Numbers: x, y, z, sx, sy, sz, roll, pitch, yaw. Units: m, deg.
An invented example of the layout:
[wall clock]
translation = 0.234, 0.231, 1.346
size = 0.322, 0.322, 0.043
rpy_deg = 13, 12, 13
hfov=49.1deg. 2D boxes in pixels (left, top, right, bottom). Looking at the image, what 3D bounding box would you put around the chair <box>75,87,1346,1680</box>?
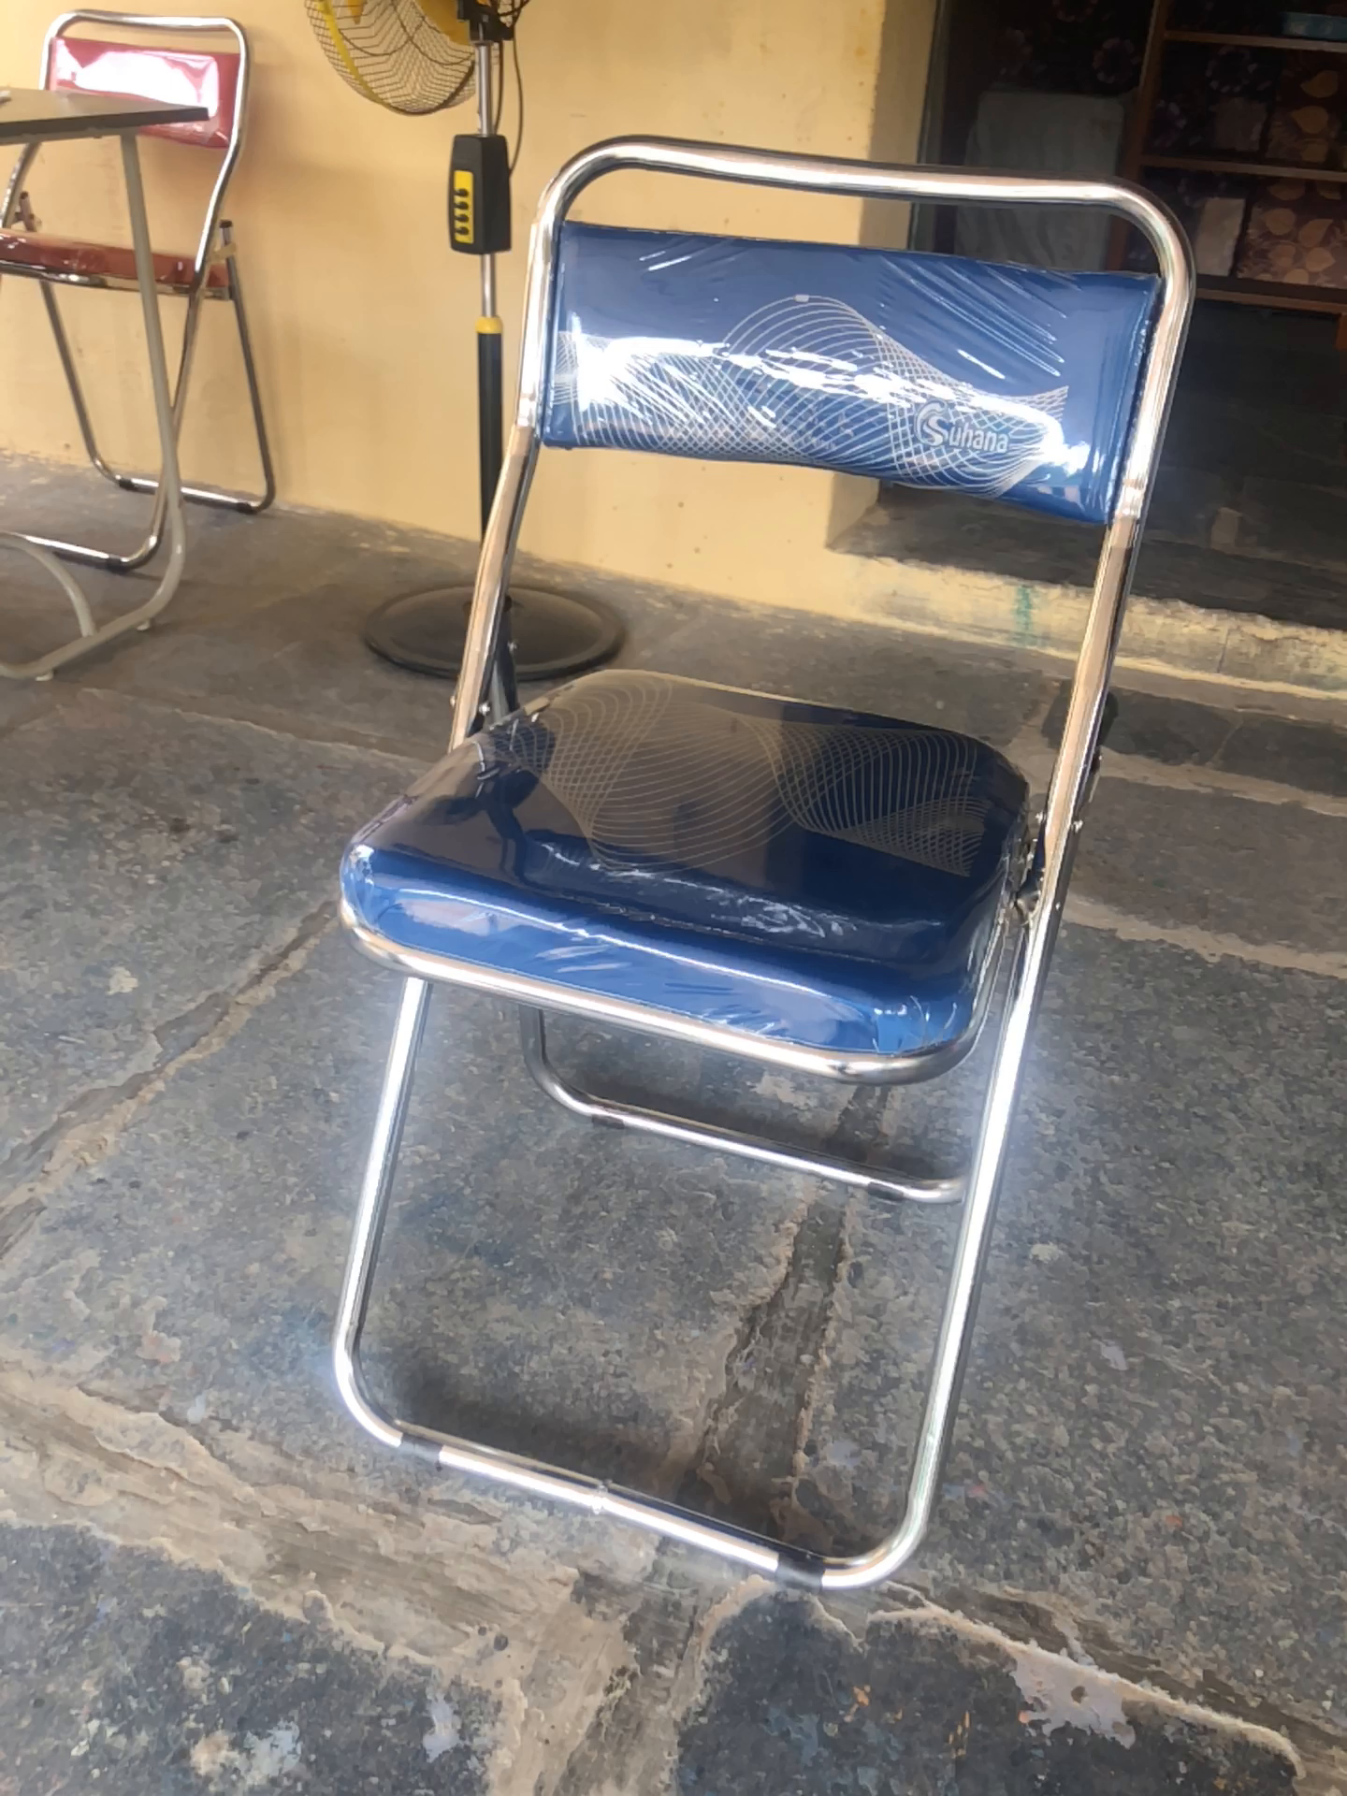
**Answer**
[chair]
translation = 0.044, -0.050, 0.963
size = 0.500, 0.806, 0.513
rpy_deg = 12, 30, 14
